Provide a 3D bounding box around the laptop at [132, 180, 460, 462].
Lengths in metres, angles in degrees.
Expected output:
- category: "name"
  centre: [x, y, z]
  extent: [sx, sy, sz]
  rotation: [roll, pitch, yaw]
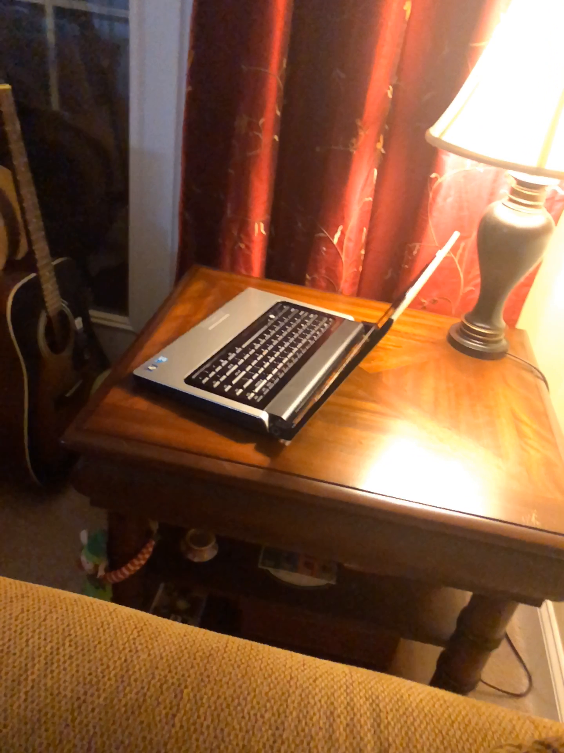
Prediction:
- category: "laptop"
  centre: [0.032, -0.115, 0.936]
  extent: [0.351, 0.204, 0.364]
  rotation: [20, 35, 16]
